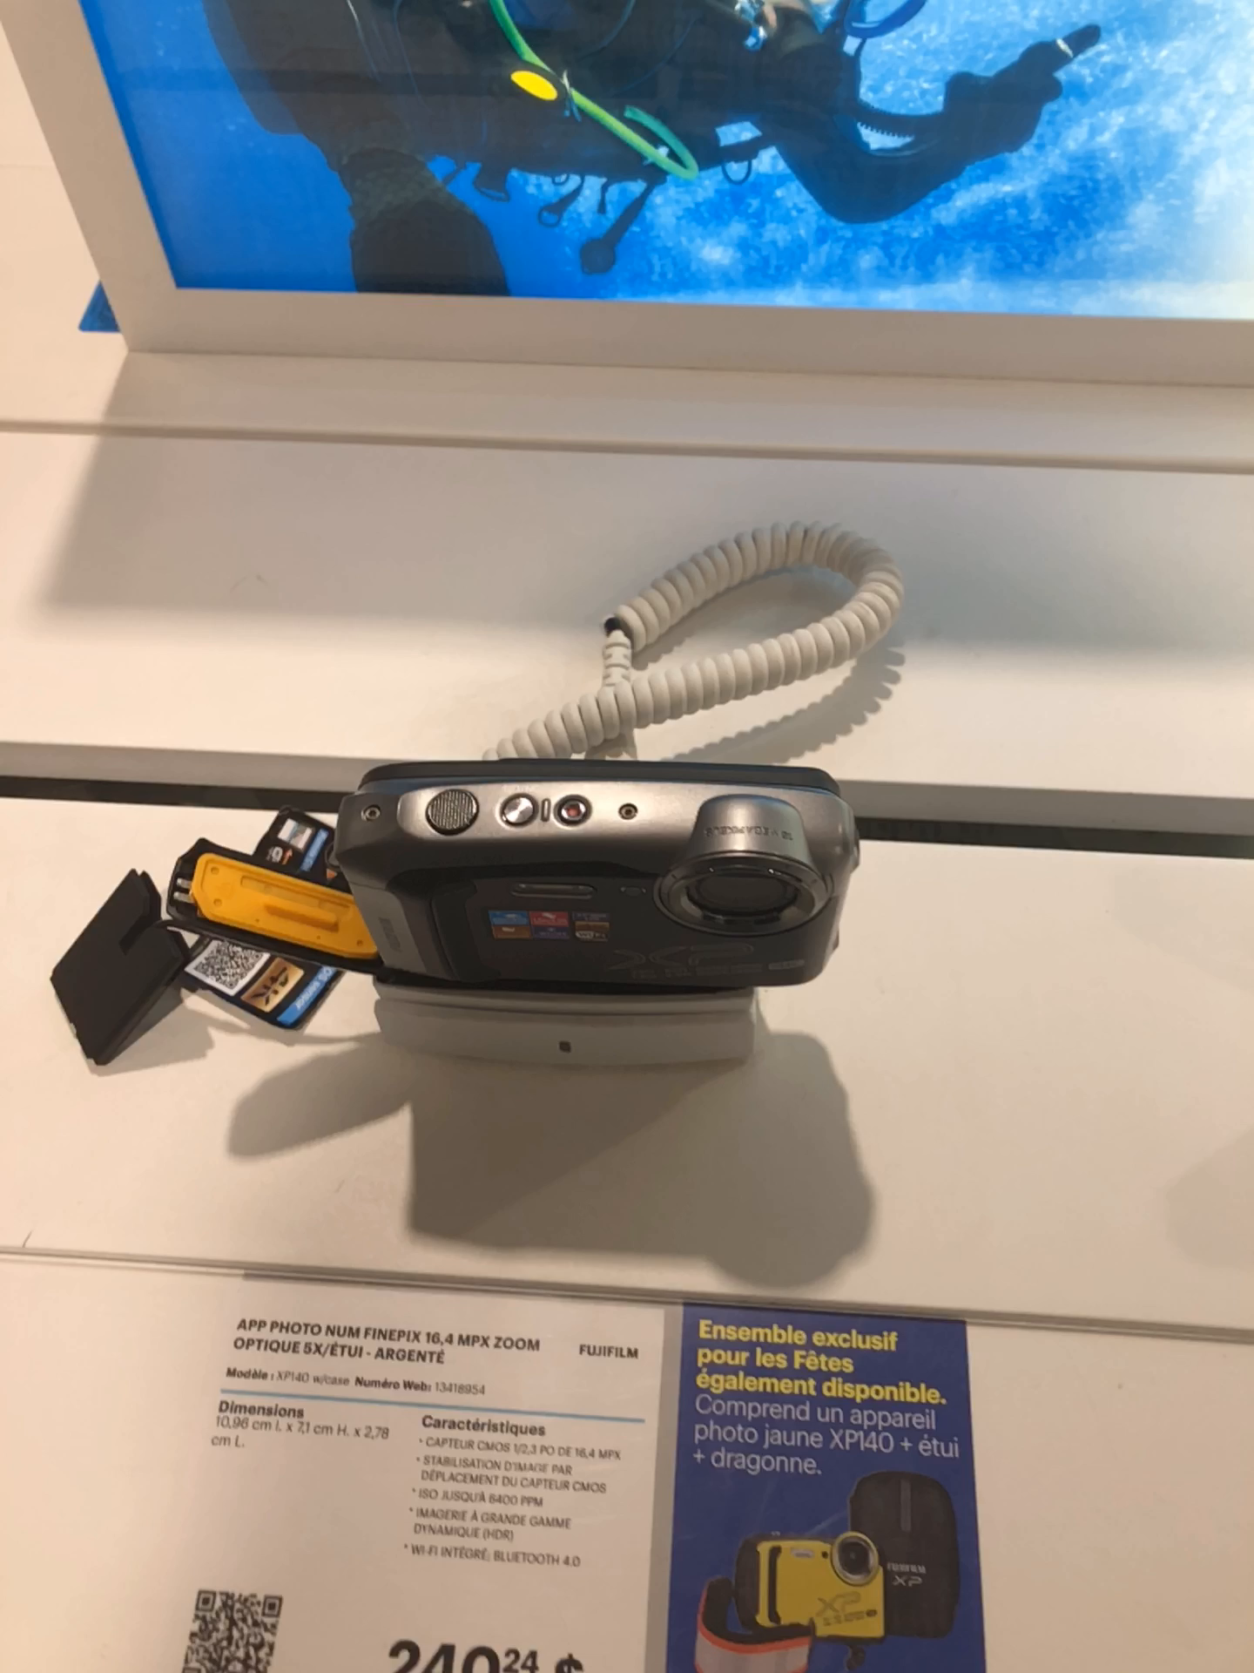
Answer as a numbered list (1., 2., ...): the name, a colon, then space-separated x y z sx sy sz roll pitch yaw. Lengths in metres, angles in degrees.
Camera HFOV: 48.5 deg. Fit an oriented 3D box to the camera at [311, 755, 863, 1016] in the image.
1. camera: -0.007 0.012 0.302 0.106 0.070 0.023 1 57 2
